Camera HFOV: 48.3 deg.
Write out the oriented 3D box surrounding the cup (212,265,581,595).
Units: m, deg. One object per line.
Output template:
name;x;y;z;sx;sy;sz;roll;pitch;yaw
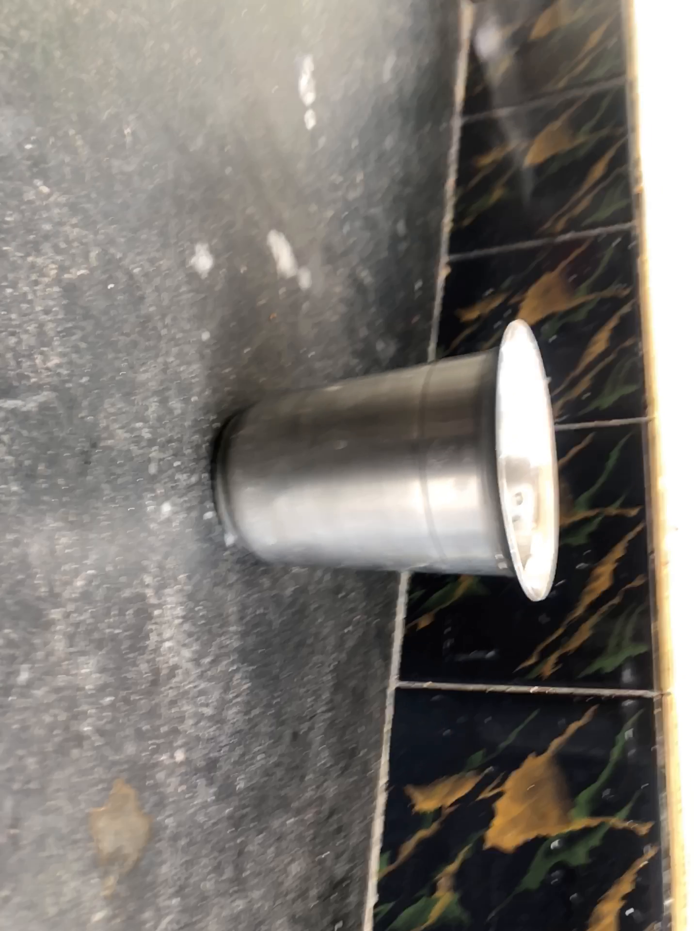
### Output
cup;0.022;-0.001;0.271;0.091;0.099;0.090;-4;90;-67
